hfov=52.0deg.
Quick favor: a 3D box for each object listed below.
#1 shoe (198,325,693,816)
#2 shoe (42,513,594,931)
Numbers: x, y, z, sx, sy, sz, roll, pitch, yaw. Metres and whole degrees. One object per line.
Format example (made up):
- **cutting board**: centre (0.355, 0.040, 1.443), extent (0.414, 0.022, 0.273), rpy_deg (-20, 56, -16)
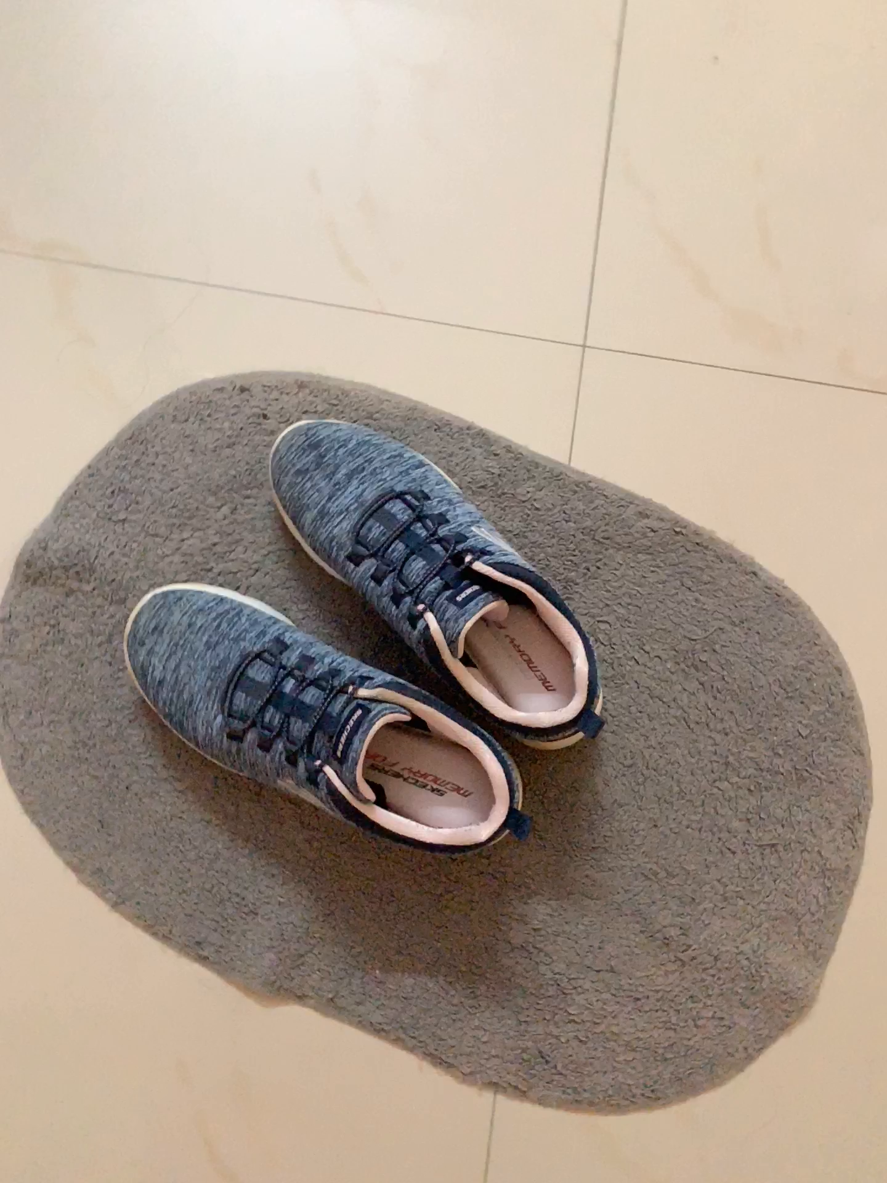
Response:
- **shoe**: centre (-0.002, -0.009, 0.518), extent (0.270, 0.100, 0.090), rpy_deg (45, 84, -1)
- **shoe**: centre (-0.071, 0.078, 0.549), extent (0.290, 0.100, 0.100), rpy_deg (30, 80, -2)
